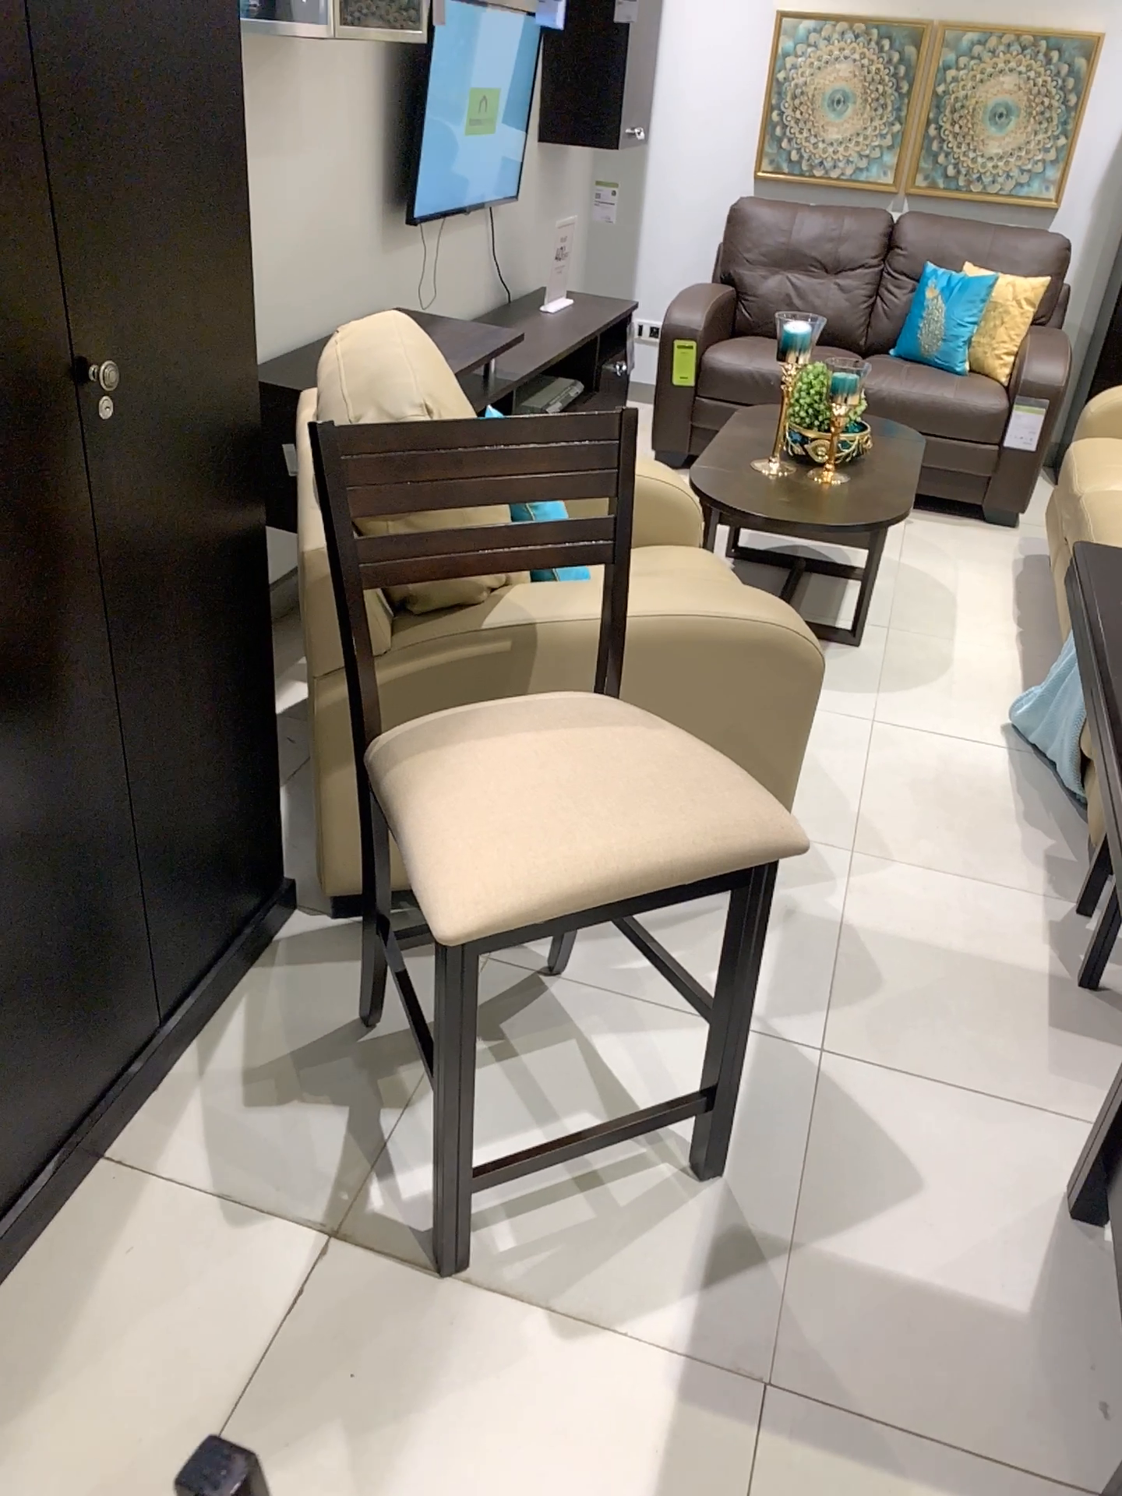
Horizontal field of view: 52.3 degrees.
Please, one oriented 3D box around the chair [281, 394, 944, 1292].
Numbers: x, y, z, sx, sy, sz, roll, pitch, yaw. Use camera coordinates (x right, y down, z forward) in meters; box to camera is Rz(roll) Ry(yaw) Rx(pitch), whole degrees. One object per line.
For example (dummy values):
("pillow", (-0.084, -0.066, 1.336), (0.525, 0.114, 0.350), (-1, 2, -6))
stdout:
("chair", (-0.012, 0.086, 1.503), (0.520, 0.916, 0.592), (-11, 34, -25))
